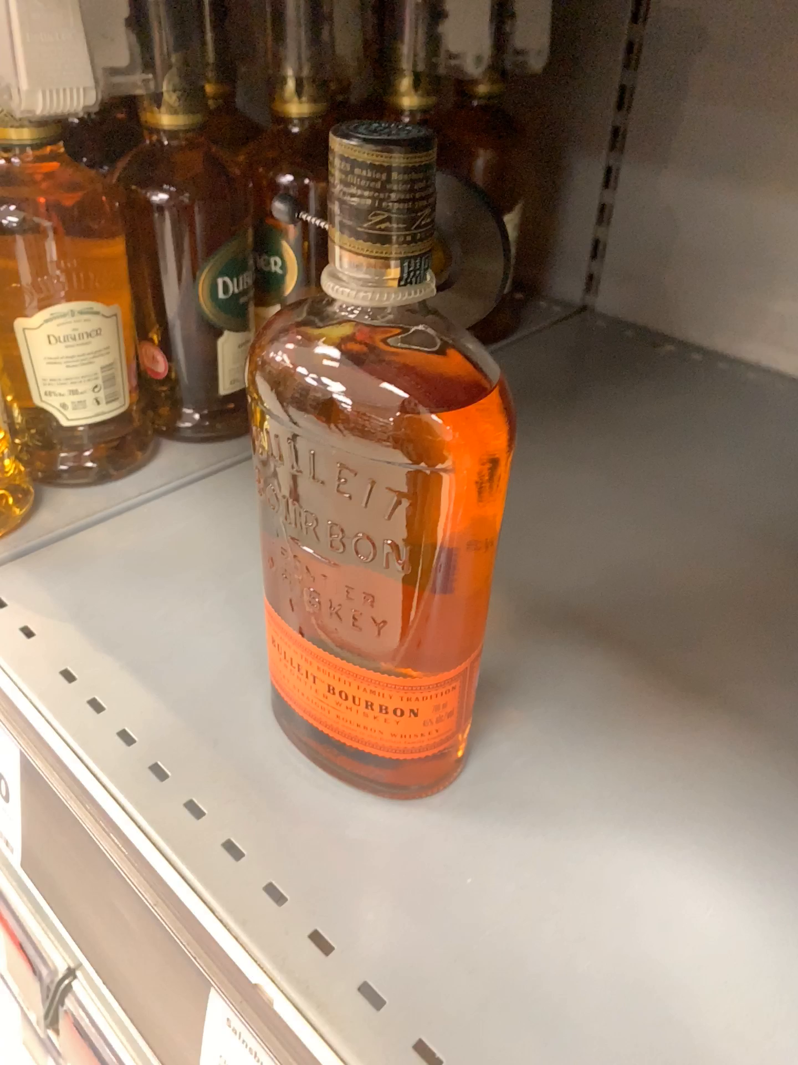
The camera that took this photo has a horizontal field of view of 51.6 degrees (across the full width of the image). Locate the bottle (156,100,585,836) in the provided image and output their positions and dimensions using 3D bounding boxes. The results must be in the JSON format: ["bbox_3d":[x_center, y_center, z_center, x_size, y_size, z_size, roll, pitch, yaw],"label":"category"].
[{"bbox_3d":[-0.014,-0.013,0.286,0.100,0.228,0.060,27,41,30],"label":"bottle"}]
